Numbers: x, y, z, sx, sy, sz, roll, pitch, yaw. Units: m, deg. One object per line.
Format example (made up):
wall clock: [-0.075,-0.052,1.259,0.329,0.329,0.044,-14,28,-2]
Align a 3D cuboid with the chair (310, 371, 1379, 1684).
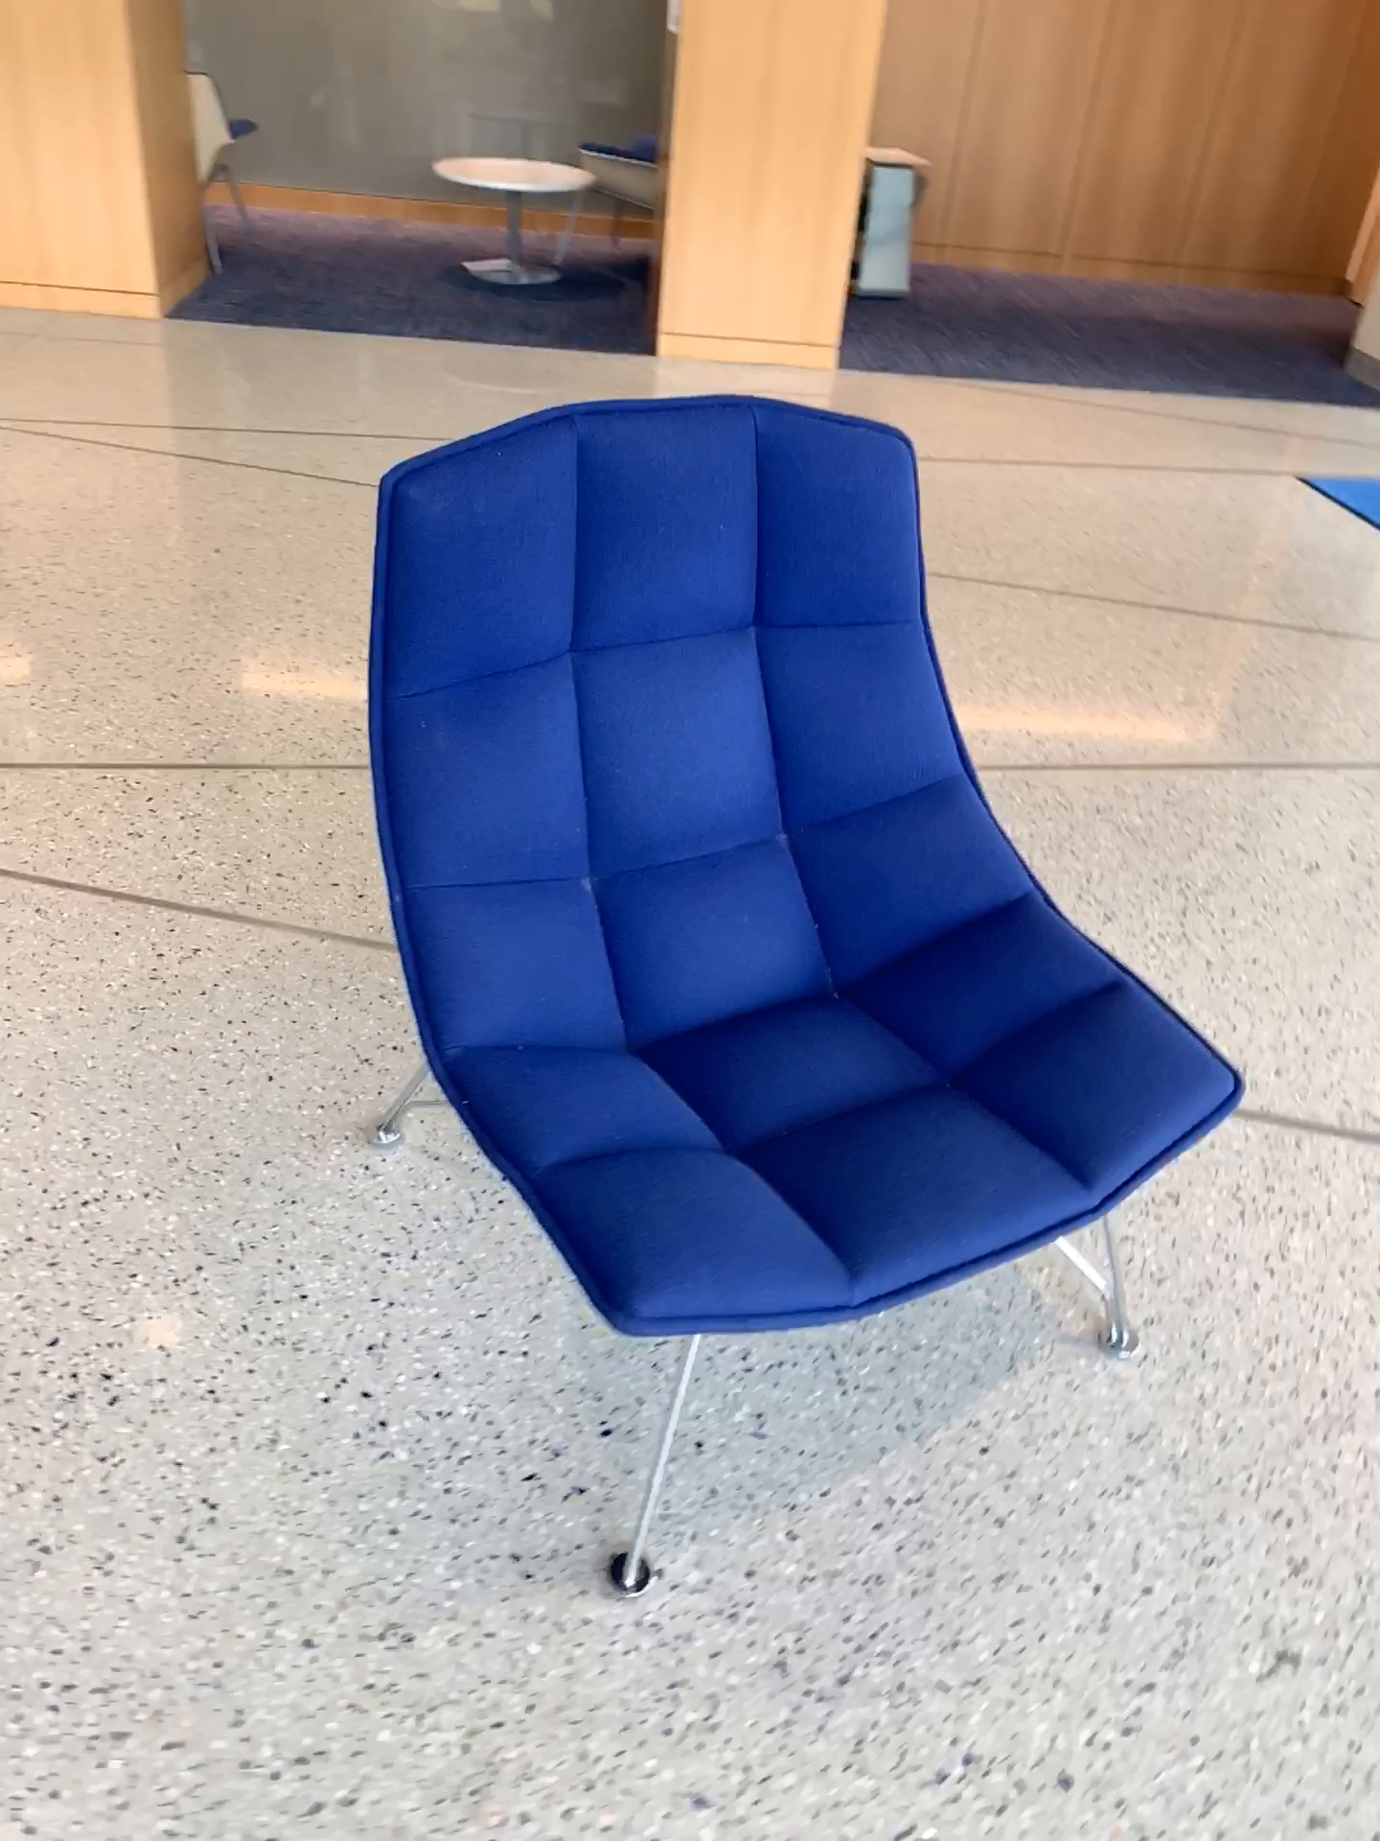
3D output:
chair: [0.130,0.020,1.545,0.800,0.962,0.834,-13,38,-26]
